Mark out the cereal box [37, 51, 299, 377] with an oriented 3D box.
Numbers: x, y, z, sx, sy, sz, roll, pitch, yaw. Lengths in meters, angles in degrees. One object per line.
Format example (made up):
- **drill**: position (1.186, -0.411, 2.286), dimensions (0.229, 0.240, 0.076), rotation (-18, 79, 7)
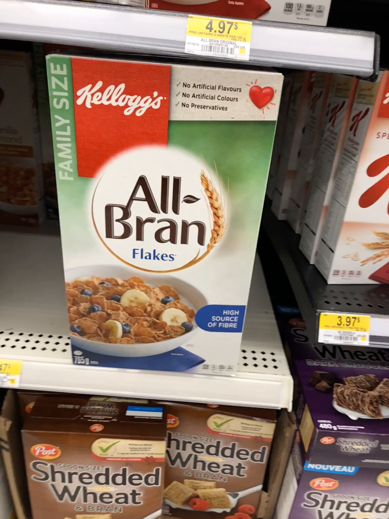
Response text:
- **cereal box**: position (-0.033, -0.032, 0.452), dimensions (0.210, 0.318, 0.081), rotation (4, 28, -2)
